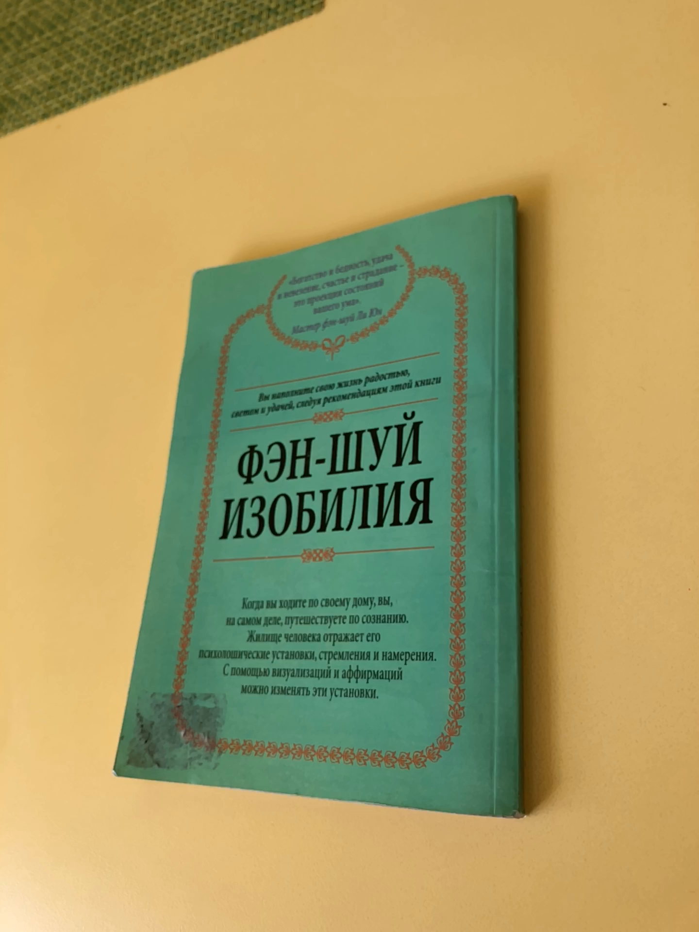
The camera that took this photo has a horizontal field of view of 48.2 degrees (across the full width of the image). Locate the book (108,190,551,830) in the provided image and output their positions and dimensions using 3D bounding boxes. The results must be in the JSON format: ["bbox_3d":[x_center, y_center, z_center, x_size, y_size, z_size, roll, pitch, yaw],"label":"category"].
[{"bbox_3d":[-0.005,0.008,0.228,0.118,0.020,0.166,-6,67,26],"label":"book"}]
